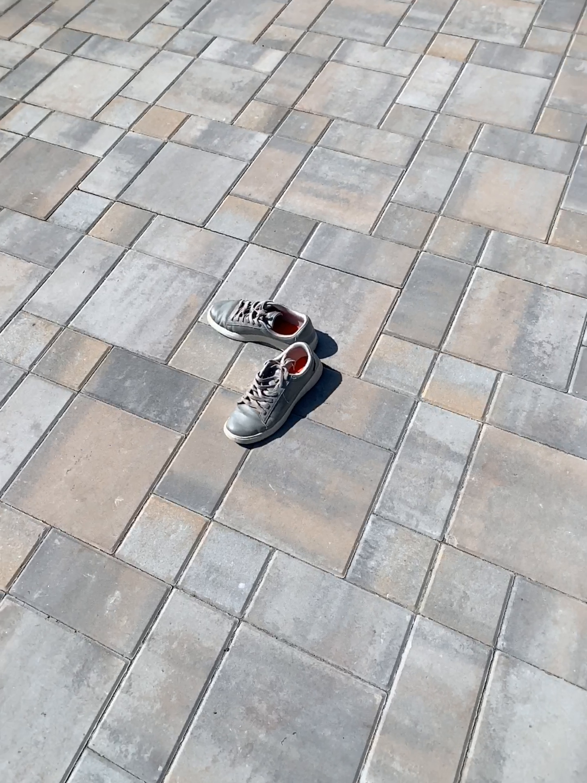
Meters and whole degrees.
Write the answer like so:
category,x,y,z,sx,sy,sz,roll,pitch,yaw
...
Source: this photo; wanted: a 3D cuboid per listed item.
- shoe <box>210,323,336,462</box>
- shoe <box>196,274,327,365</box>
category,x,y,z,sx,sy,sz,roll,pitch,yaw
shoe,-0.041,-0.001,1.385,0.120,0.110,0.300,33,65,21
shoe,-0.078,-0.183,1.504,0.300,0.090,0.120,19,61,14
